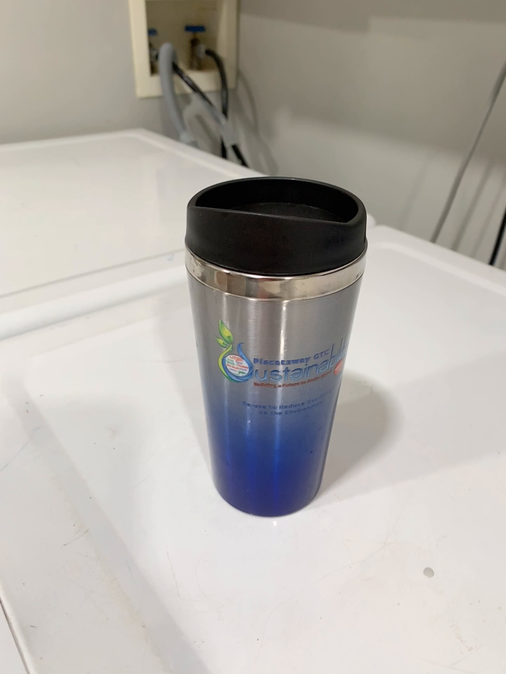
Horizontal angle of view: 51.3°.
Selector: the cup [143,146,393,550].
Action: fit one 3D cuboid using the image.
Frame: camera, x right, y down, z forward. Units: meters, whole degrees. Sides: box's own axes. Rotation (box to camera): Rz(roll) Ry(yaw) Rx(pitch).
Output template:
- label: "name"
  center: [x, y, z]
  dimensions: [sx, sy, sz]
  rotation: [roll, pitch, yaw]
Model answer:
- label: "cup"
  center: [0.010, 0.004, 0.270]
  dimensions: [0.079, 0.171, 0.090]
  rotation: [14, 34, 19]
